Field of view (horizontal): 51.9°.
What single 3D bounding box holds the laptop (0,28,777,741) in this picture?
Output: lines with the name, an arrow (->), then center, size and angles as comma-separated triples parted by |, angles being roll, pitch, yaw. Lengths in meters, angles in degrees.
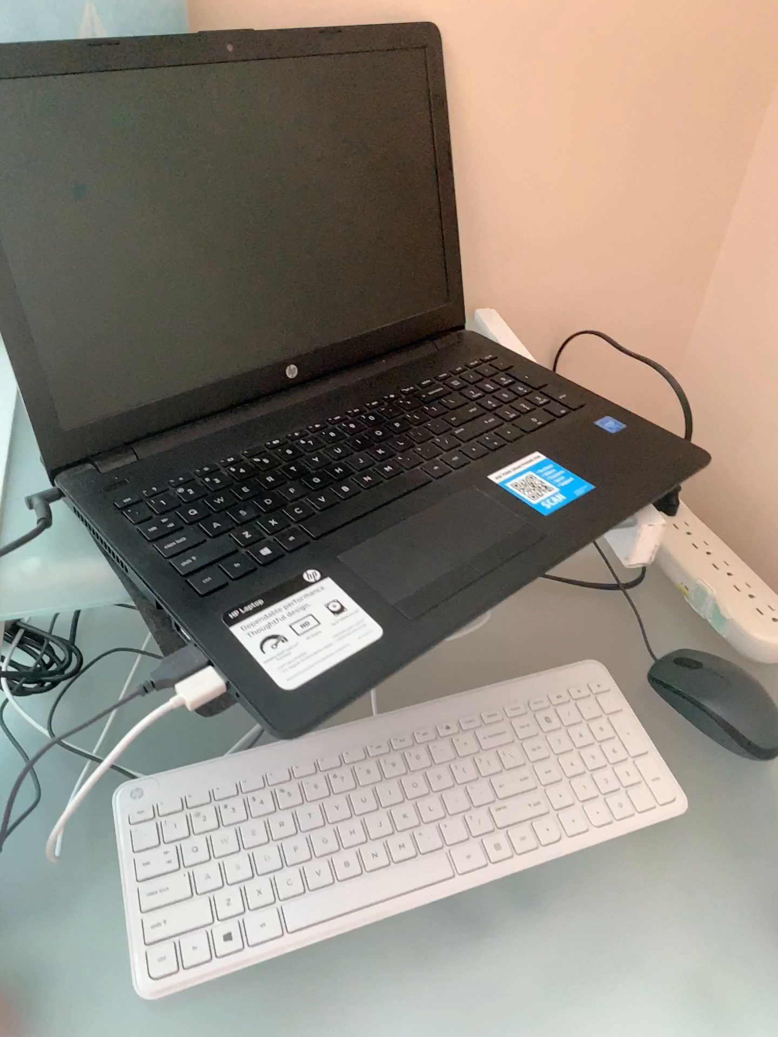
laptop -> -0.006, -0.134, 0.475 | 0.365, 0.222, 0.308 | -27, 47, -33
